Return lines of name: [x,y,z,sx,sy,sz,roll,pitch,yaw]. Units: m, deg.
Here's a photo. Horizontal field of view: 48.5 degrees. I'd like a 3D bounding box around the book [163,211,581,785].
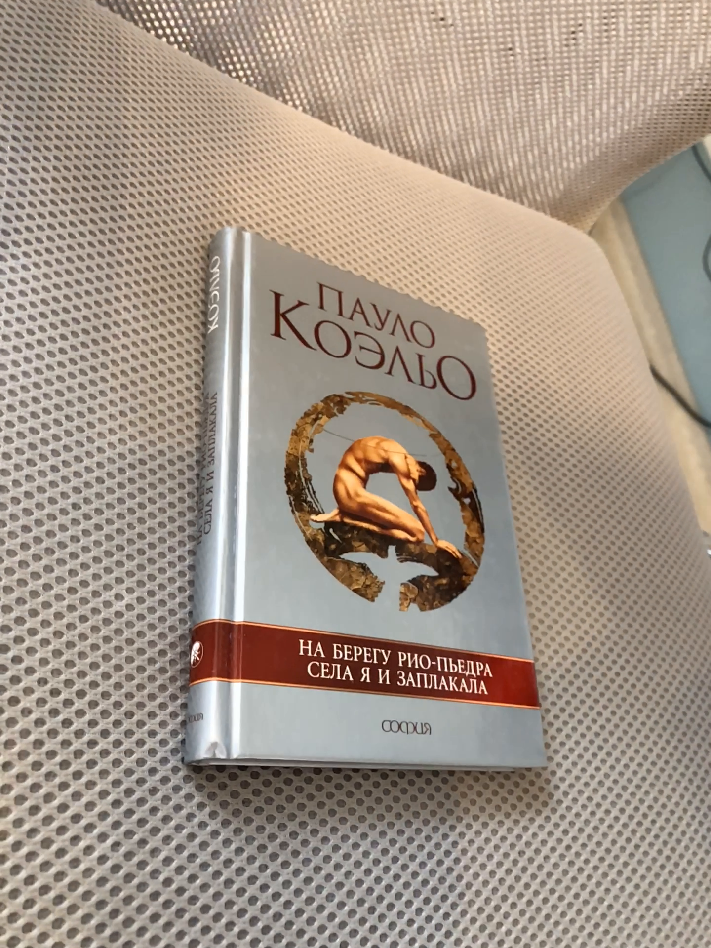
book: [0.009,0.009,0.263,0.131,0.020,0.174,15,59,-31]
